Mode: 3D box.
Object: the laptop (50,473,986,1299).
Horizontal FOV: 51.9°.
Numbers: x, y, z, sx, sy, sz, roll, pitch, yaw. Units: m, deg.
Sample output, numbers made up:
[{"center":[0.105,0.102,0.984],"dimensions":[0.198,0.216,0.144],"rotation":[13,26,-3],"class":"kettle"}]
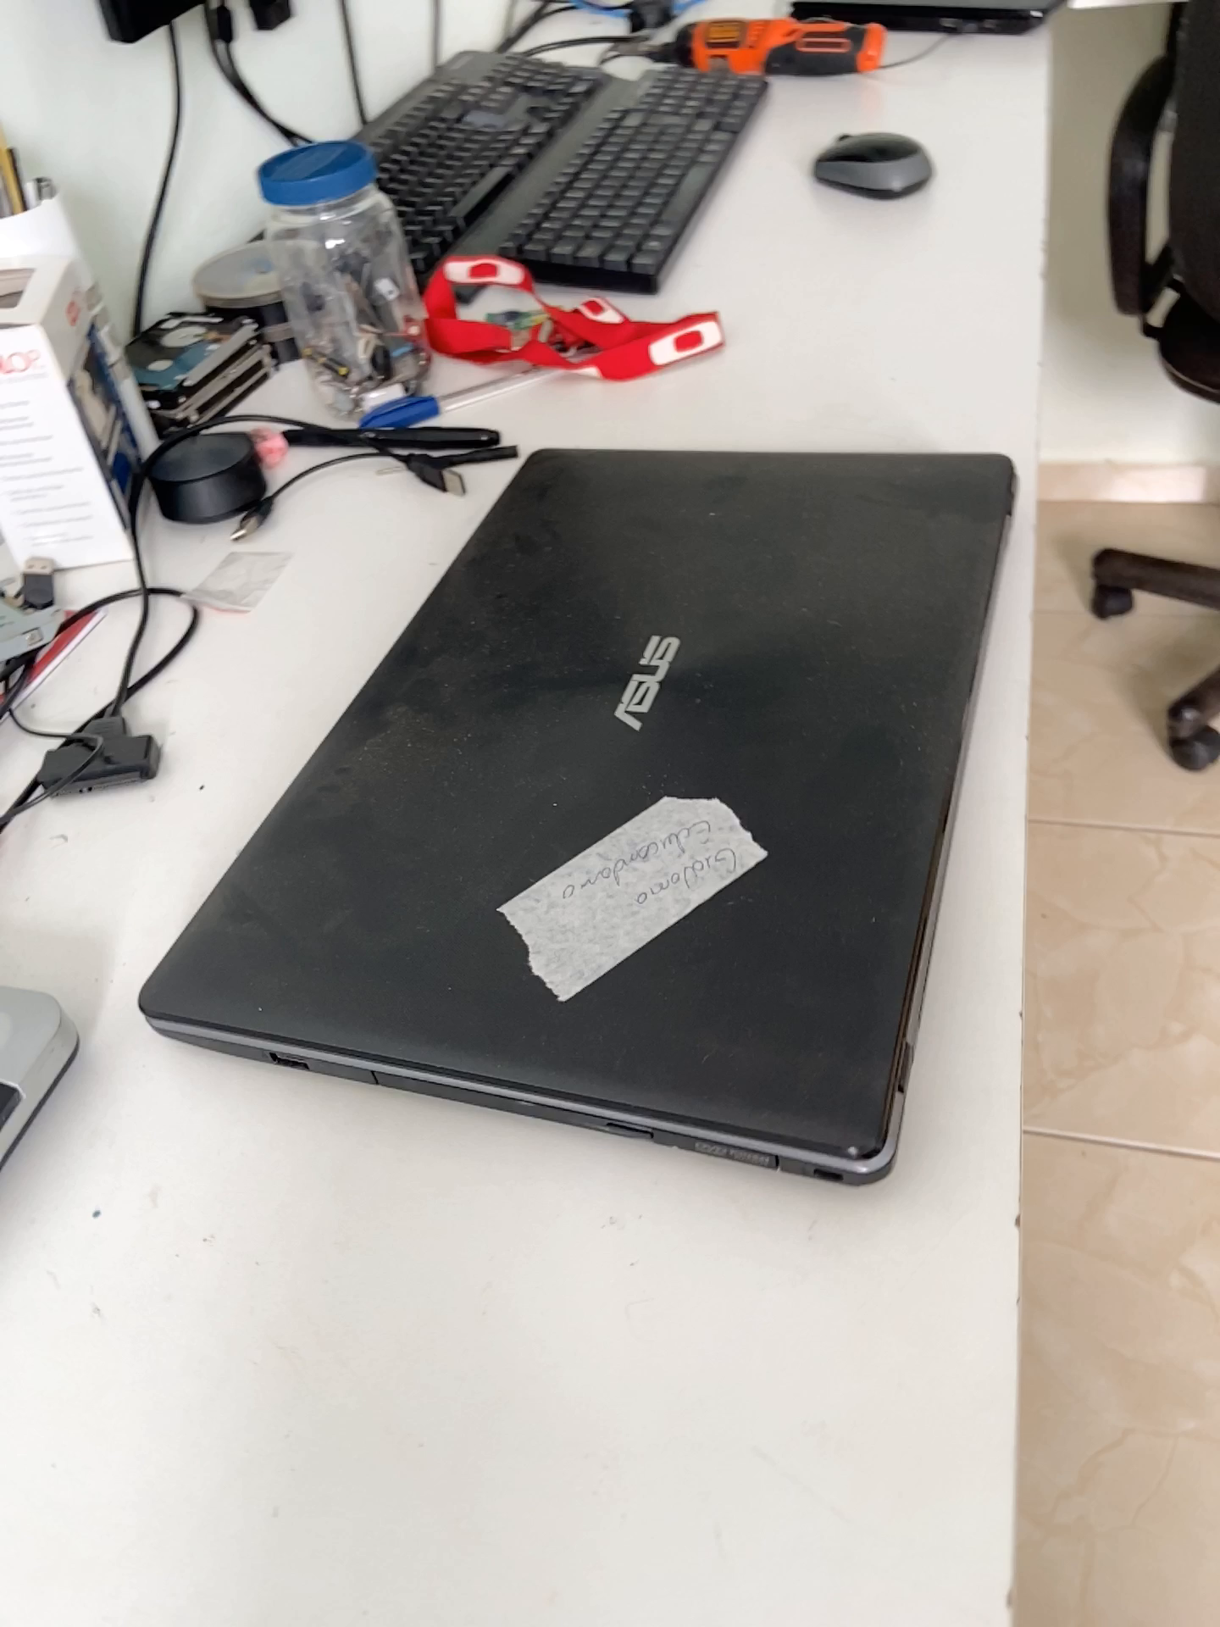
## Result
[{"center":[-0.004,-0.027,0.491],"dimensions":[0.250,0.007,0.387],"rotation":[7,46,19],"class":"laptop"}]
